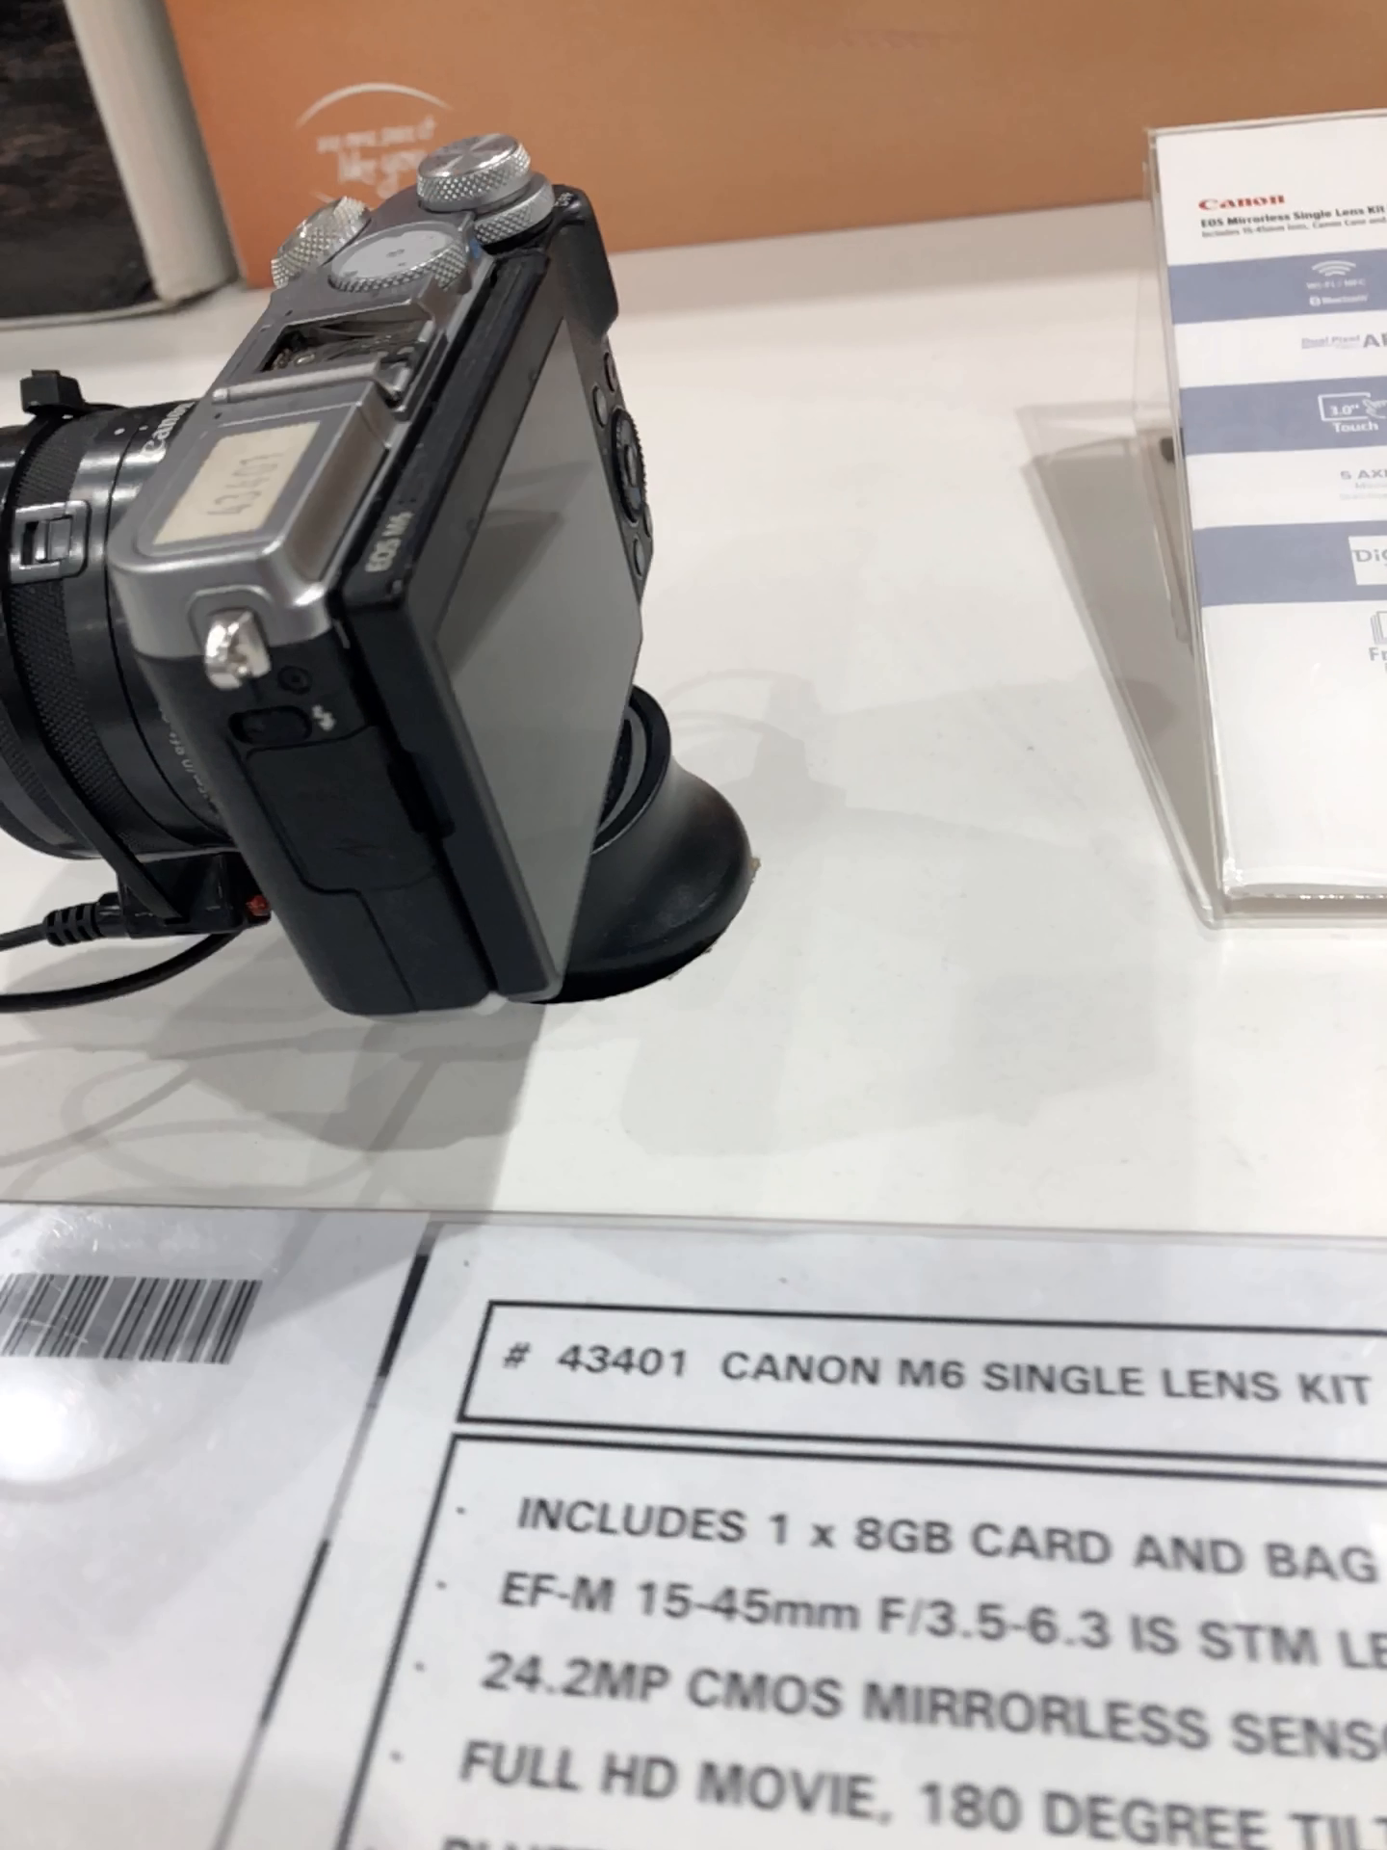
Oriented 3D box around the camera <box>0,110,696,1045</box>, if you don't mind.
[{"bbox_3d":[-0.053,-0.049,0.213,0.083,0.075,0.103,-4,43,13],"label":"camera"}]
